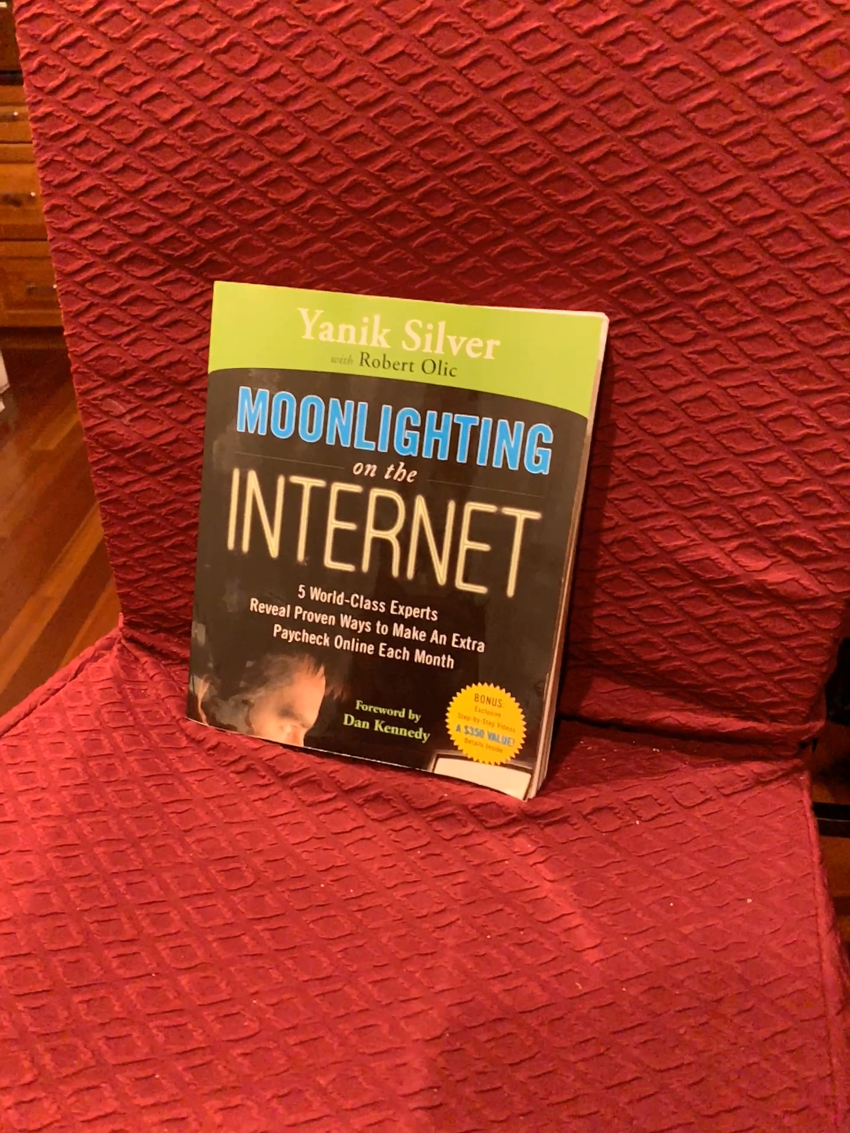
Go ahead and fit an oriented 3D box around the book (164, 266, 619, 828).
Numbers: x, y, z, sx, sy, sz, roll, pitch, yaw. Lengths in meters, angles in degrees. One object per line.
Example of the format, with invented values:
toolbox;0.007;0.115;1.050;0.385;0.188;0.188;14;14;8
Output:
book;-0.024;-0.014;0.429;0.200;0.239;0.040;9;12;15
